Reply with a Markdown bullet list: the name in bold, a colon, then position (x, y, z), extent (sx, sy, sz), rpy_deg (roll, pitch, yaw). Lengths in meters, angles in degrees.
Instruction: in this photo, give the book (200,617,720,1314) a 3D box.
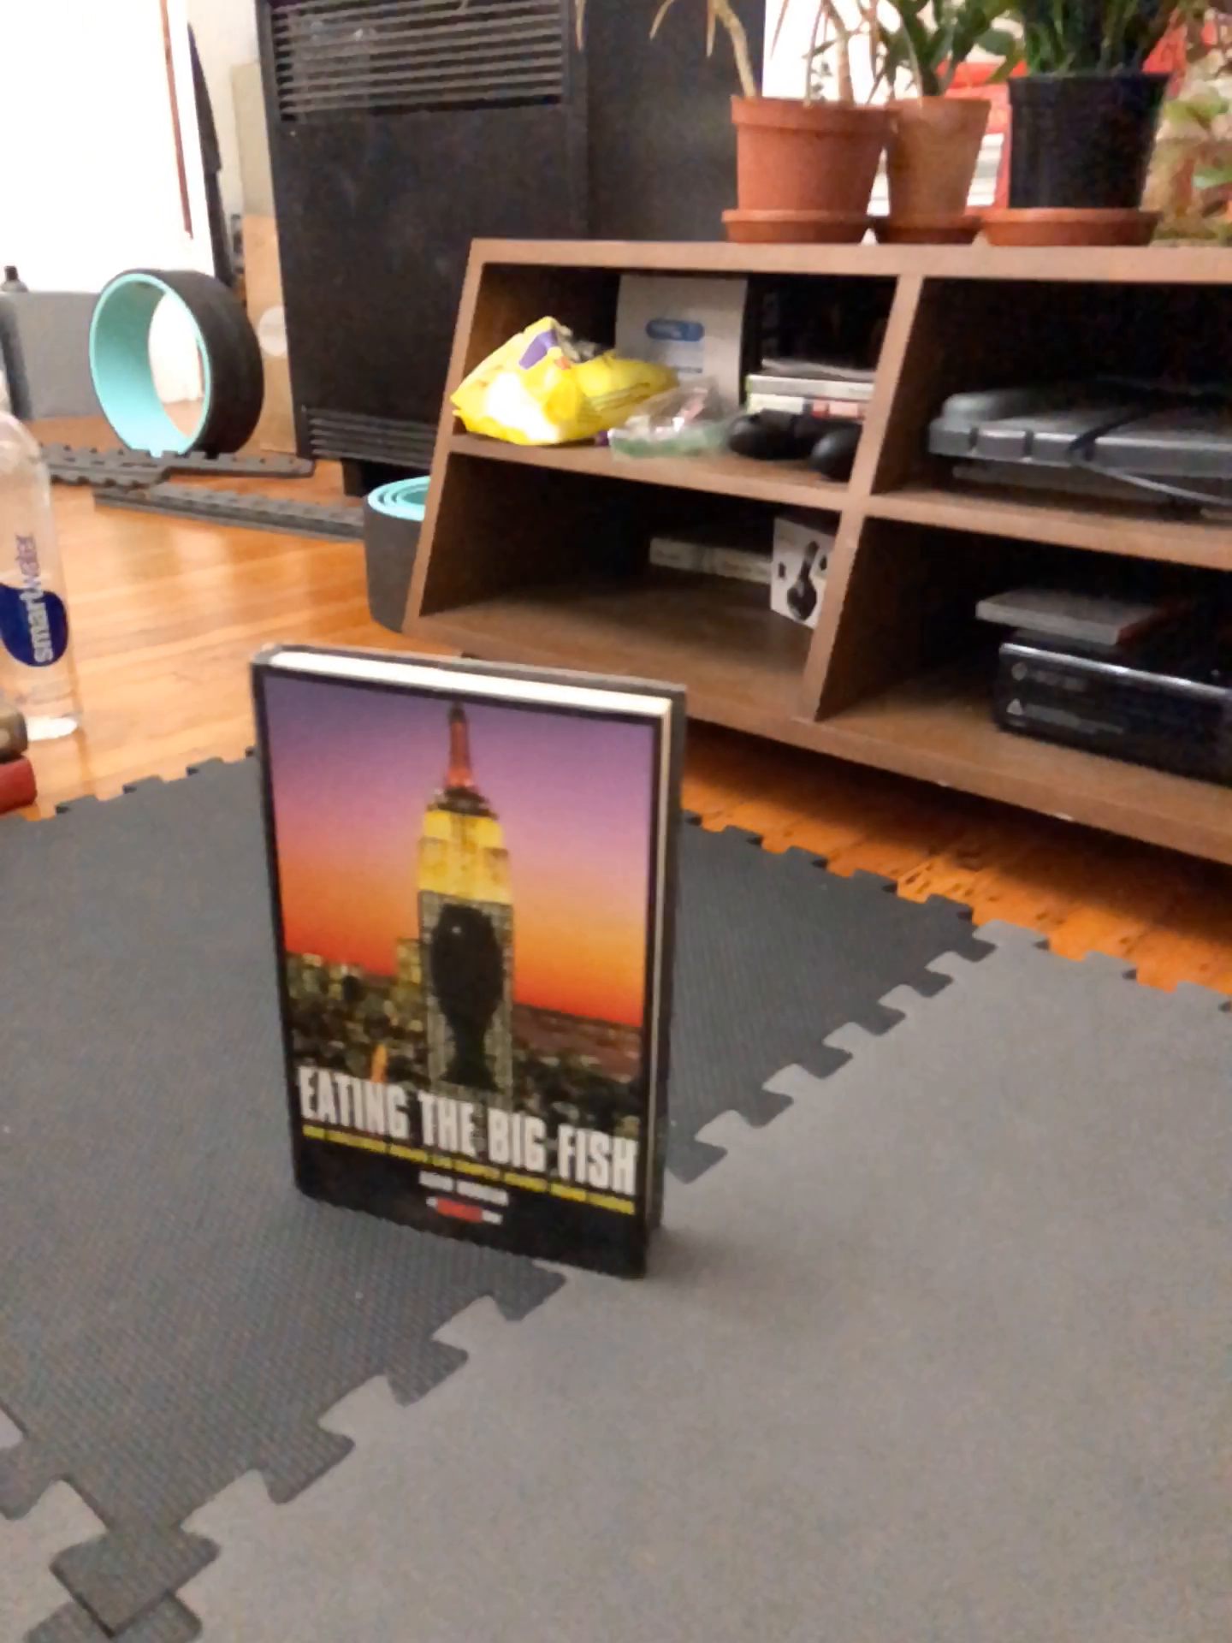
- **book**: position (-0.057, 0.059, 0.532), extent (0.180, 0.259, 0.050), rpy_deg (7, 25, 15)
